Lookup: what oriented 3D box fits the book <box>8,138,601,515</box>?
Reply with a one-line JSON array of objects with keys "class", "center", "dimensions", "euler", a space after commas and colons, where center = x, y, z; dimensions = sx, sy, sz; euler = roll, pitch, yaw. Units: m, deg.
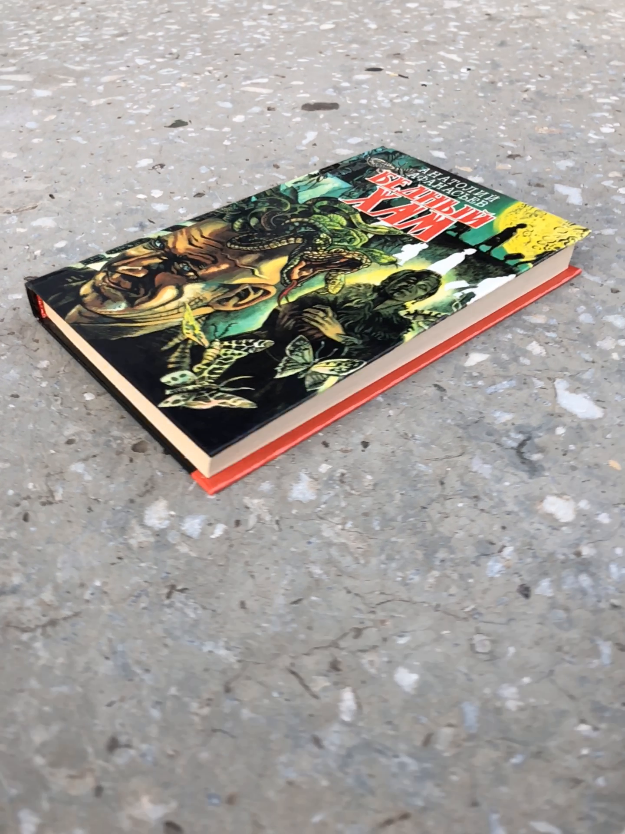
[{"class": "book", "center": [-0.001, -0.060, 0.295], "dimensions": [0.202, 0.020, 0.143], "euler": [-31, 50, -27]}]
